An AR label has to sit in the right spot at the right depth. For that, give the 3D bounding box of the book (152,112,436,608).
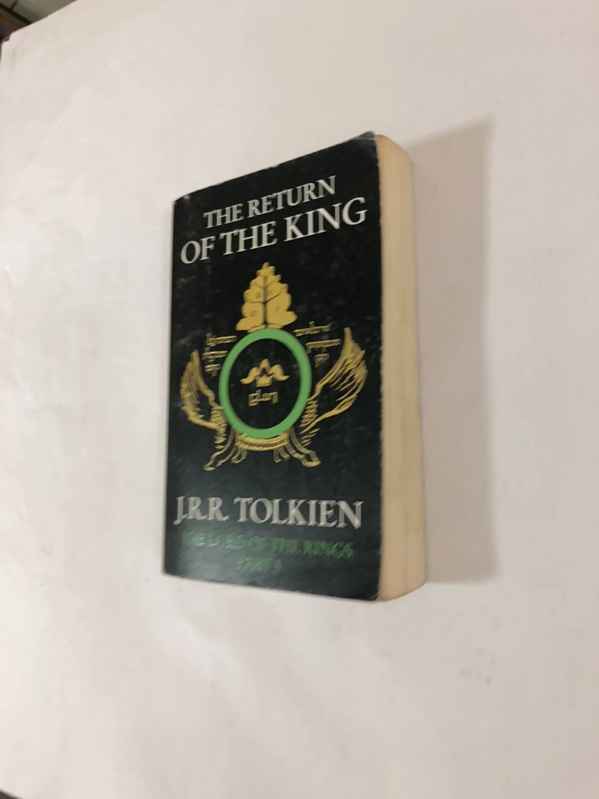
[{"bbox_3d":[-0.006,-0.014,0.319,0.131,0.040,0.200,-5,81,34],"label":"book"}]
